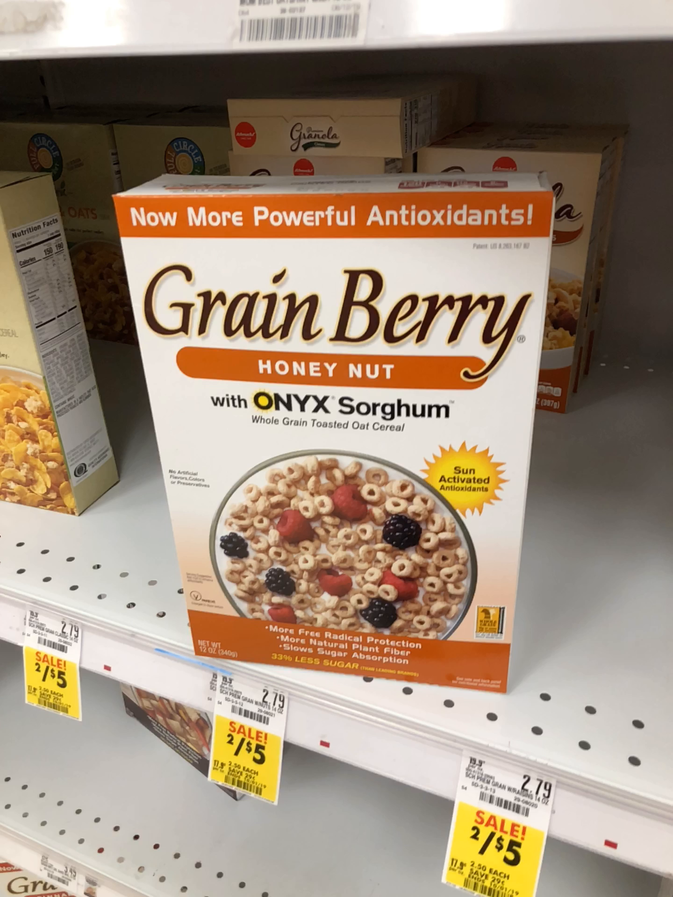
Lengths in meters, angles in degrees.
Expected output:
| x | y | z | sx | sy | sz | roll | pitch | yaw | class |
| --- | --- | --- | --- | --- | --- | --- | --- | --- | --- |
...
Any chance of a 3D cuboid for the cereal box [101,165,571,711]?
| x | y | z | sx | sy | sz | roll | pitch | yaw | class |
| --- | --- | --- | --- | --- | --- | --- | --- | --- | --- |
| 0.007 | 0.004 | 0.410 | 0.200 | 0.289 | 0.070 | 3 | 30 | 11 | cereal box |
